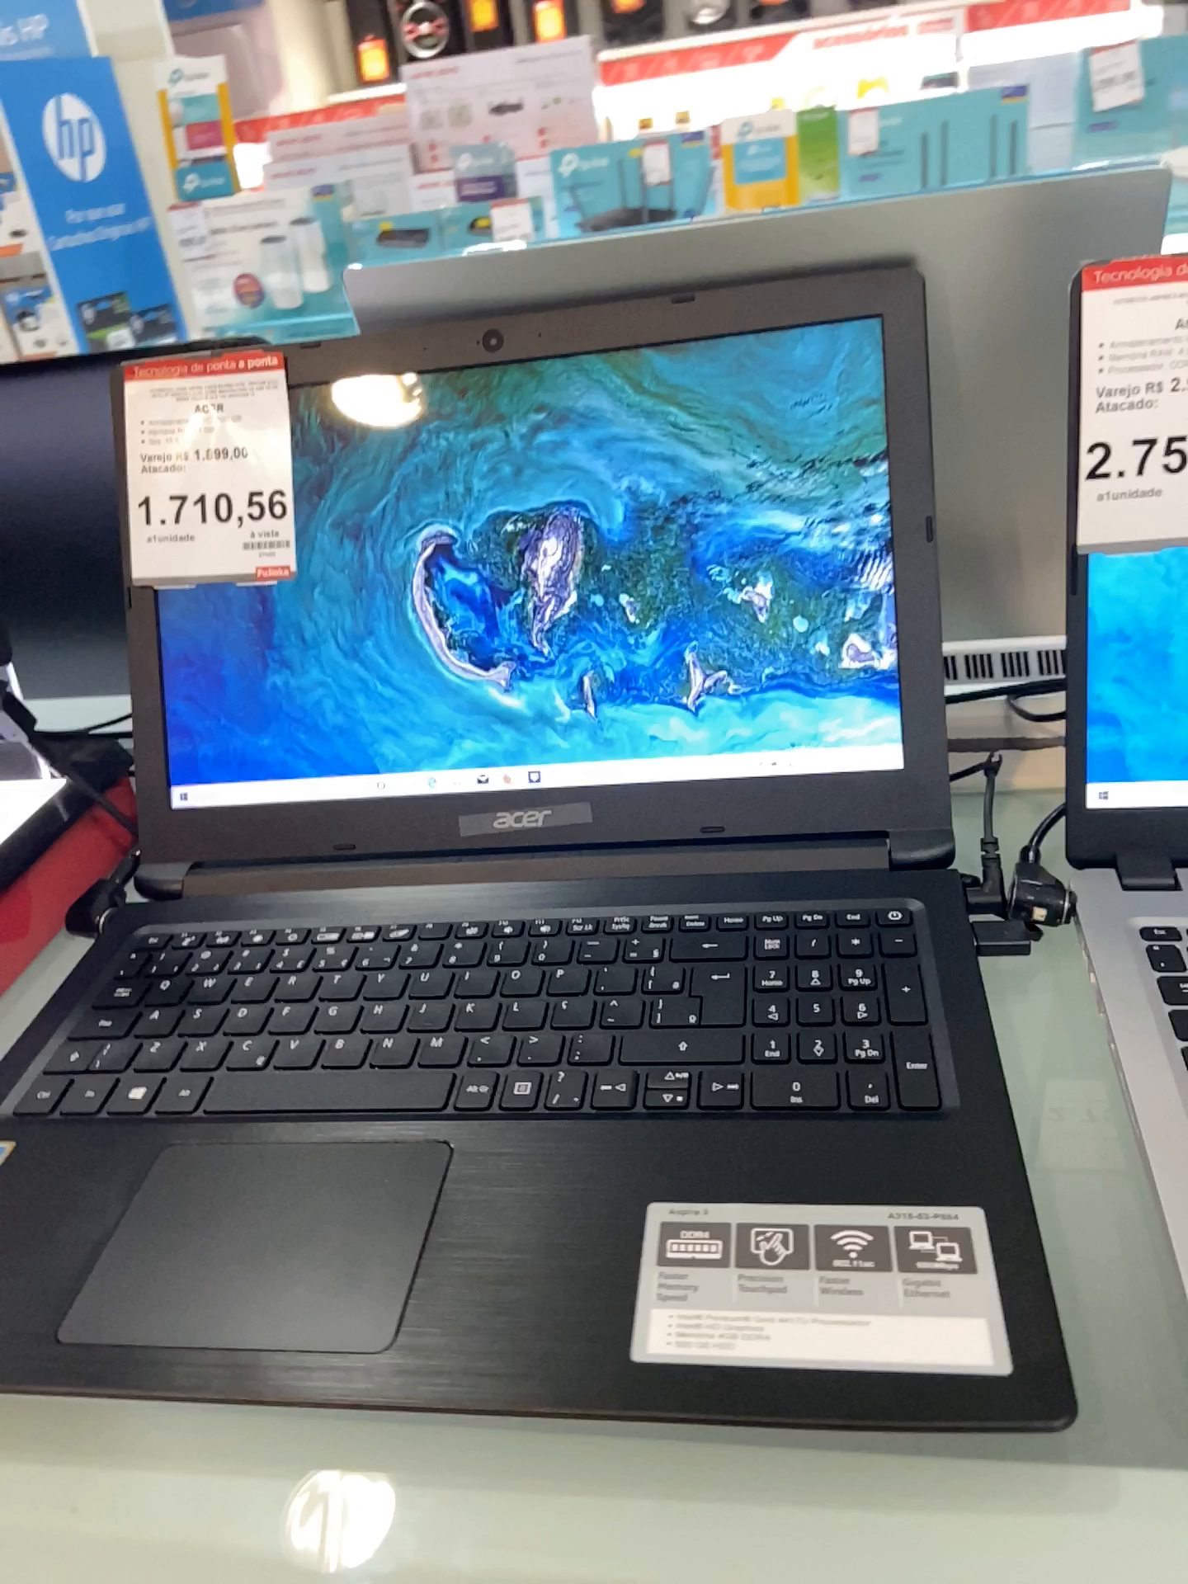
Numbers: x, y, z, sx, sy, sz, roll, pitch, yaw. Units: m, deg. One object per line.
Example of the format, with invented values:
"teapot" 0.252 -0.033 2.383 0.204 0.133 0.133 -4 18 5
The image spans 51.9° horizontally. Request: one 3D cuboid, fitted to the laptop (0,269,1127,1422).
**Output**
"laptop" -0.058 -0.026 0.448 0.377 0.216 0.382 -3 29 10
